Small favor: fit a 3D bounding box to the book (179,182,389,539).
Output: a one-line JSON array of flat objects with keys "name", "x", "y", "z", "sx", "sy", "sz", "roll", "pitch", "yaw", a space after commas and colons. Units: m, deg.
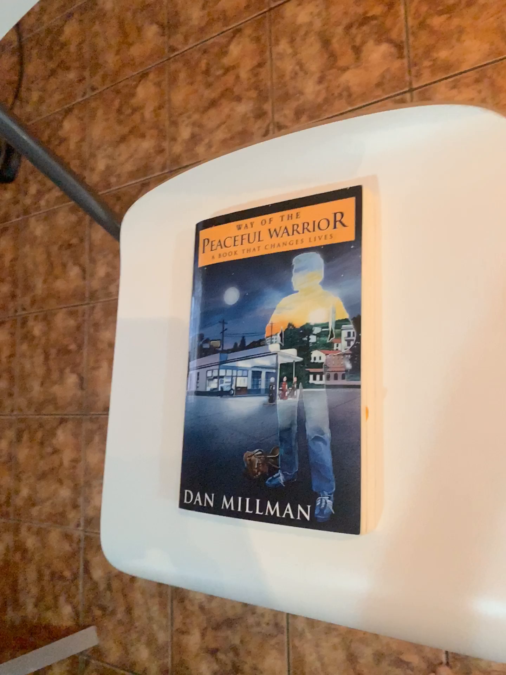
[{"name": "book", "x": 0.017, "y": 0.015, "z": 0.360, "sx": 0.141, "sy": 0.039, "sz": 0.210, "roll": -4, "pitch": 83, "yaw": 34}]
